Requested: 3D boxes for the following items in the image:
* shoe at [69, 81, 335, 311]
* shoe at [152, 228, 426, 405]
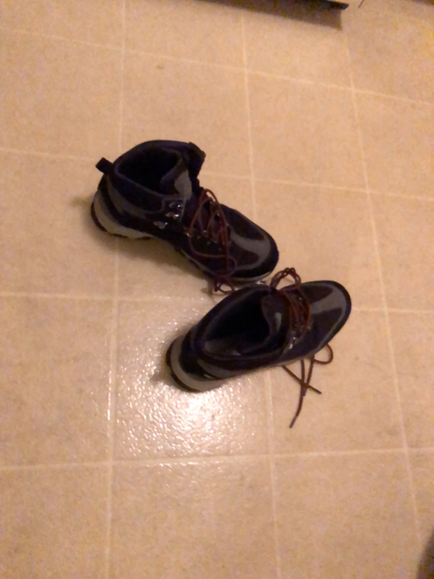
[{"bbox_3d":[-0.031,-0.111,0.676,0.309,0.196,0.126,24,68,-7],"label":"shoe"},{"bbox_3d":[0.085,0.042,0.658,0.300,0.196,0.116,-17,78,-20],"label":"shoe"}]
